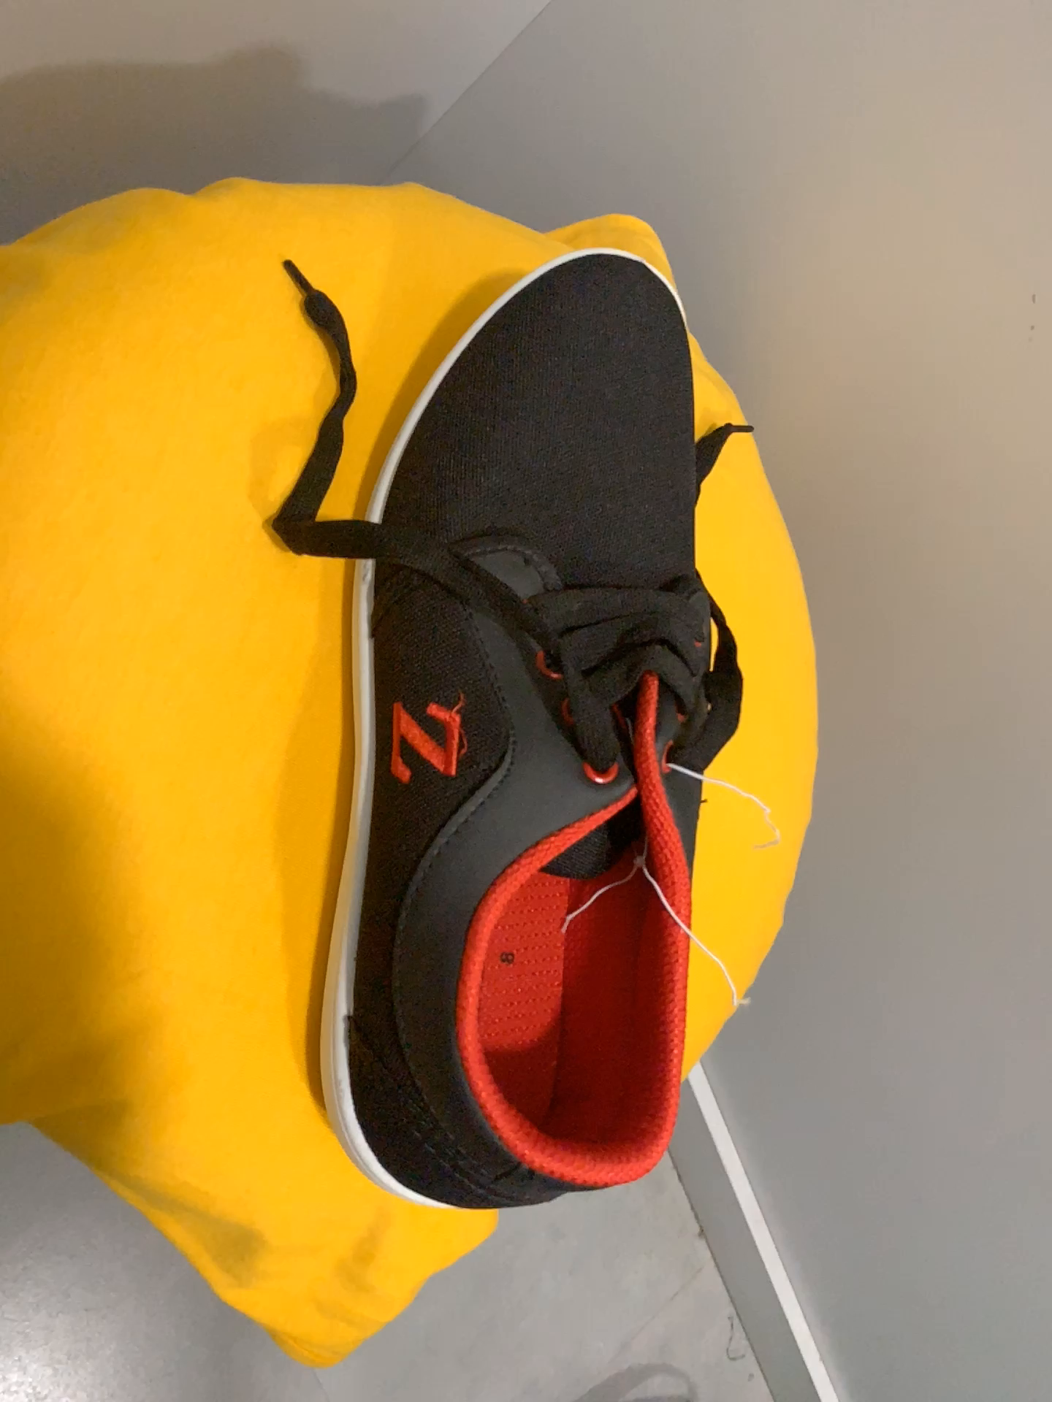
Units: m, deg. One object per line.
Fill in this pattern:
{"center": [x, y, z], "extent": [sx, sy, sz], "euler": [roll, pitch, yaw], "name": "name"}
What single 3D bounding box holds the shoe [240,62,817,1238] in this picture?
{"center": [0.002, -0.011, 0.306], "extent": [0.090, 0.100, 0.270], "euler": [13, 79, -32], "name": "shoe"}
